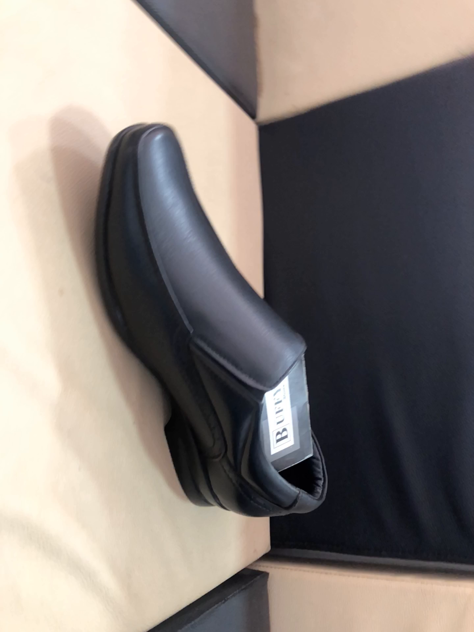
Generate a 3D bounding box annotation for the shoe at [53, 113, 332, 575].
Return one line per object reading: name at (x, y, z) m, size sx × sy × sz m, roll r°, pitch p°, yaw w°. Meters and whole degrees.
shoe at (-0.011, 0.020, 0.358) m, size 0.111 × 0.070 × 0.280 m, roll -44°, pitch 123°, yaw -57°
